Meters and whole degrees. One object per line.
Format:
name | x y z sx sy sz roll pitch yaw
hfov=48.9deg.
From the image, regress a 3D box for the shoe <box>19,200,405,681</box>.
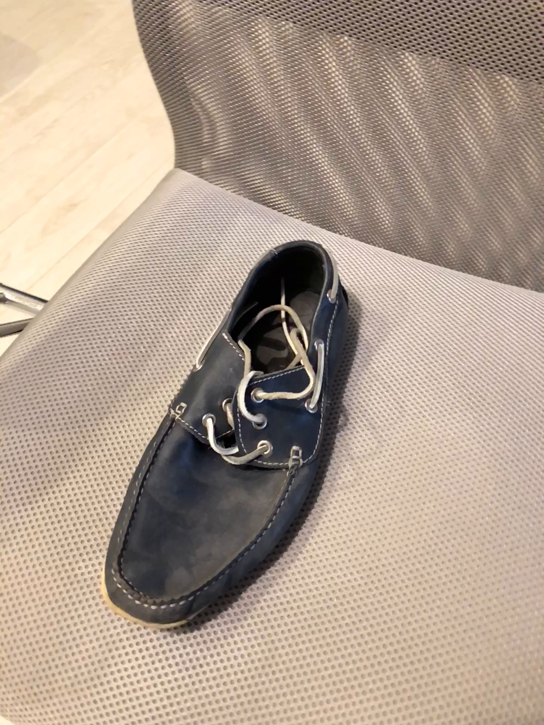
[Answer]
shoe | -0.018 0.039 0.412 0.120 0.100 0.291 20 62 14
